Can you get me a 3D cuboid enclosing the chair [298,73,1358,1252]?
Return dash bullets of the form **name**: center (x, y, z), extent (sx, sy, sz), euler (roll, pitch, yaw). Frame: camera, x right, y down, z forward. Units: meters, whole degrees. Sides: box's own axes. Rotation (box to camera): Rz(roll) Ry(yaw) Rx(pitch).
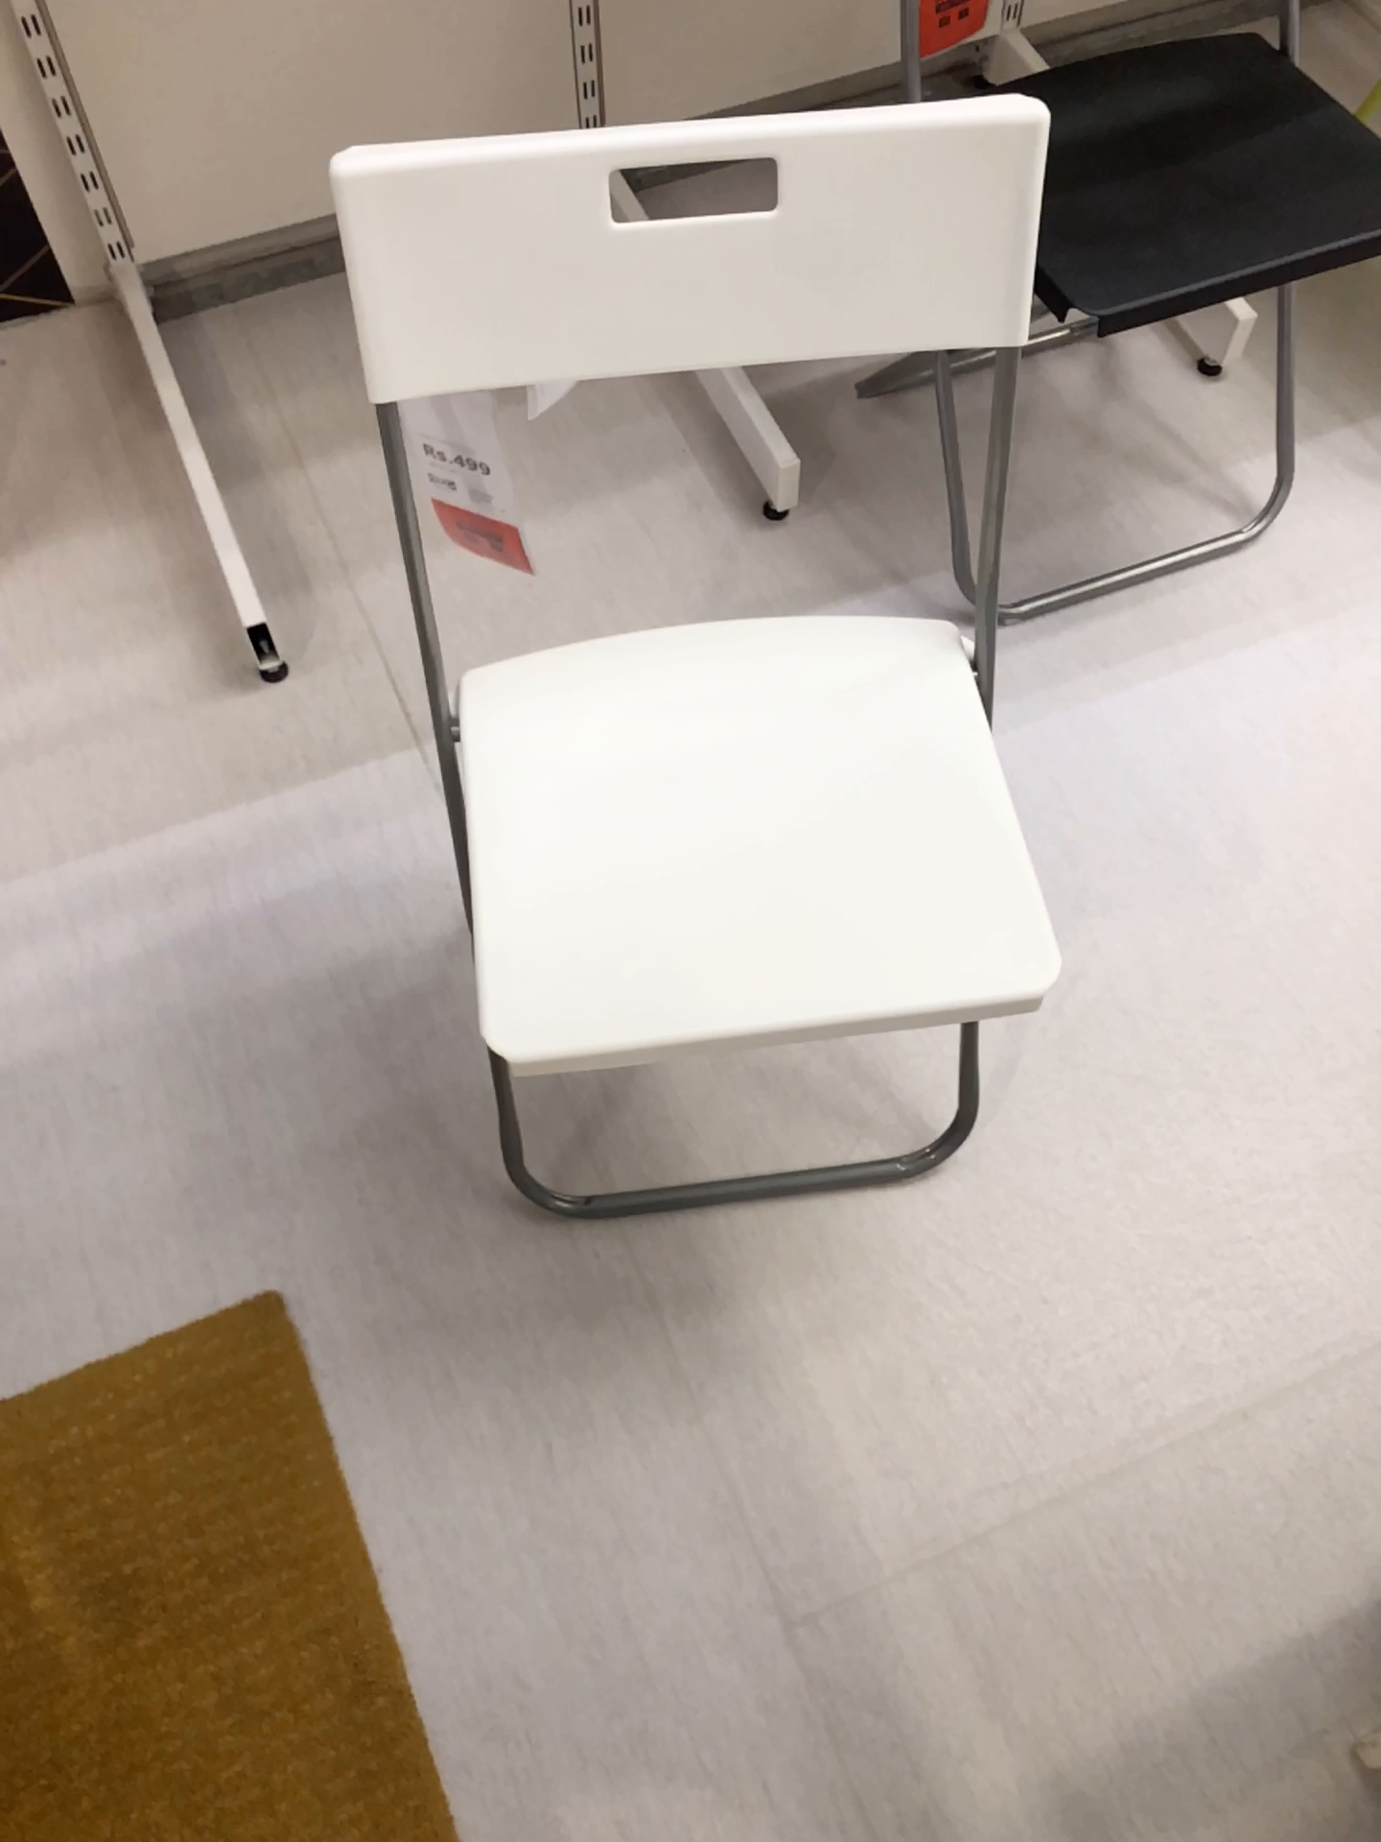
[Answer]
- **chair**: center (0.037, -0.098, 1.050), extent (0.450, 0.727, 0.402), euler (-6, 62, -4)
